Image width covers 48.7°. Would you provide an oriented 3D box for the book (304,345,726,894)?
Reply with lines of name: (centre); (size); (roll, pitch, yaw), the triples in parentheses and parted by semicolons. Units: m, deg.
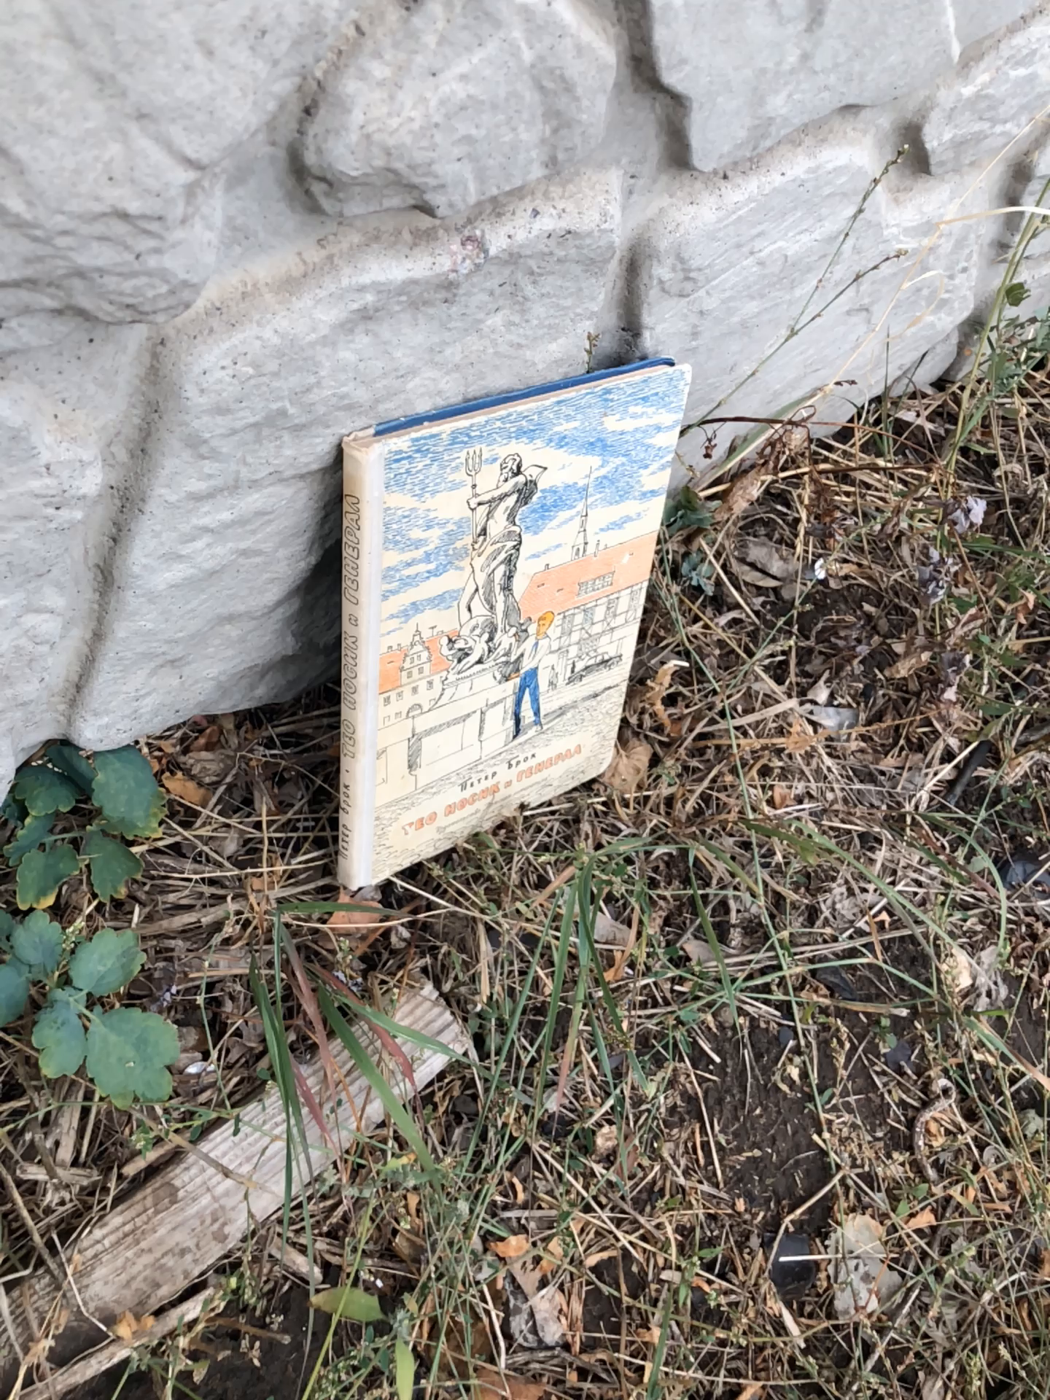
book: (-0.005, -0.025, 0.446); (0.151, 0.199, 0.020); (-20, 47, -26)
